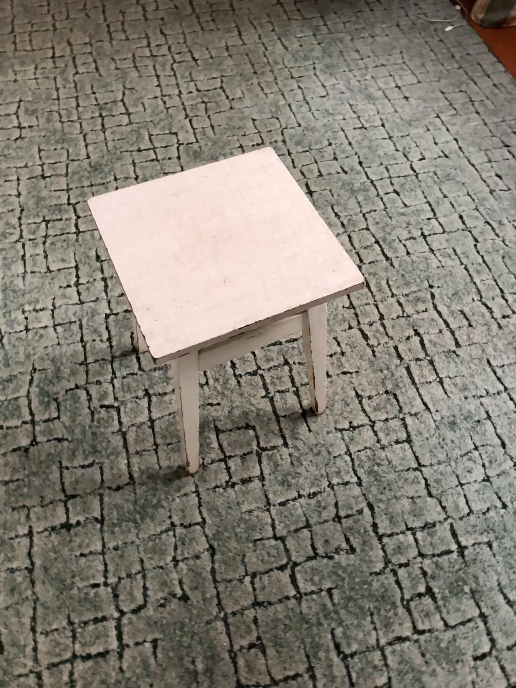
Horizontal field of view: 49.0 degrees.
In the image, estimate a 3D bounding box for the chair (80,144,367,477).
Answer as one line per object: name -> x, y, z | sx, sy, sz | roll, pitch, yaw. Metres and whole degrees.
chair -> -0.067, -0.042, 1.054 | 0.335, 0.447, 0.333 | -21, 61, -14
